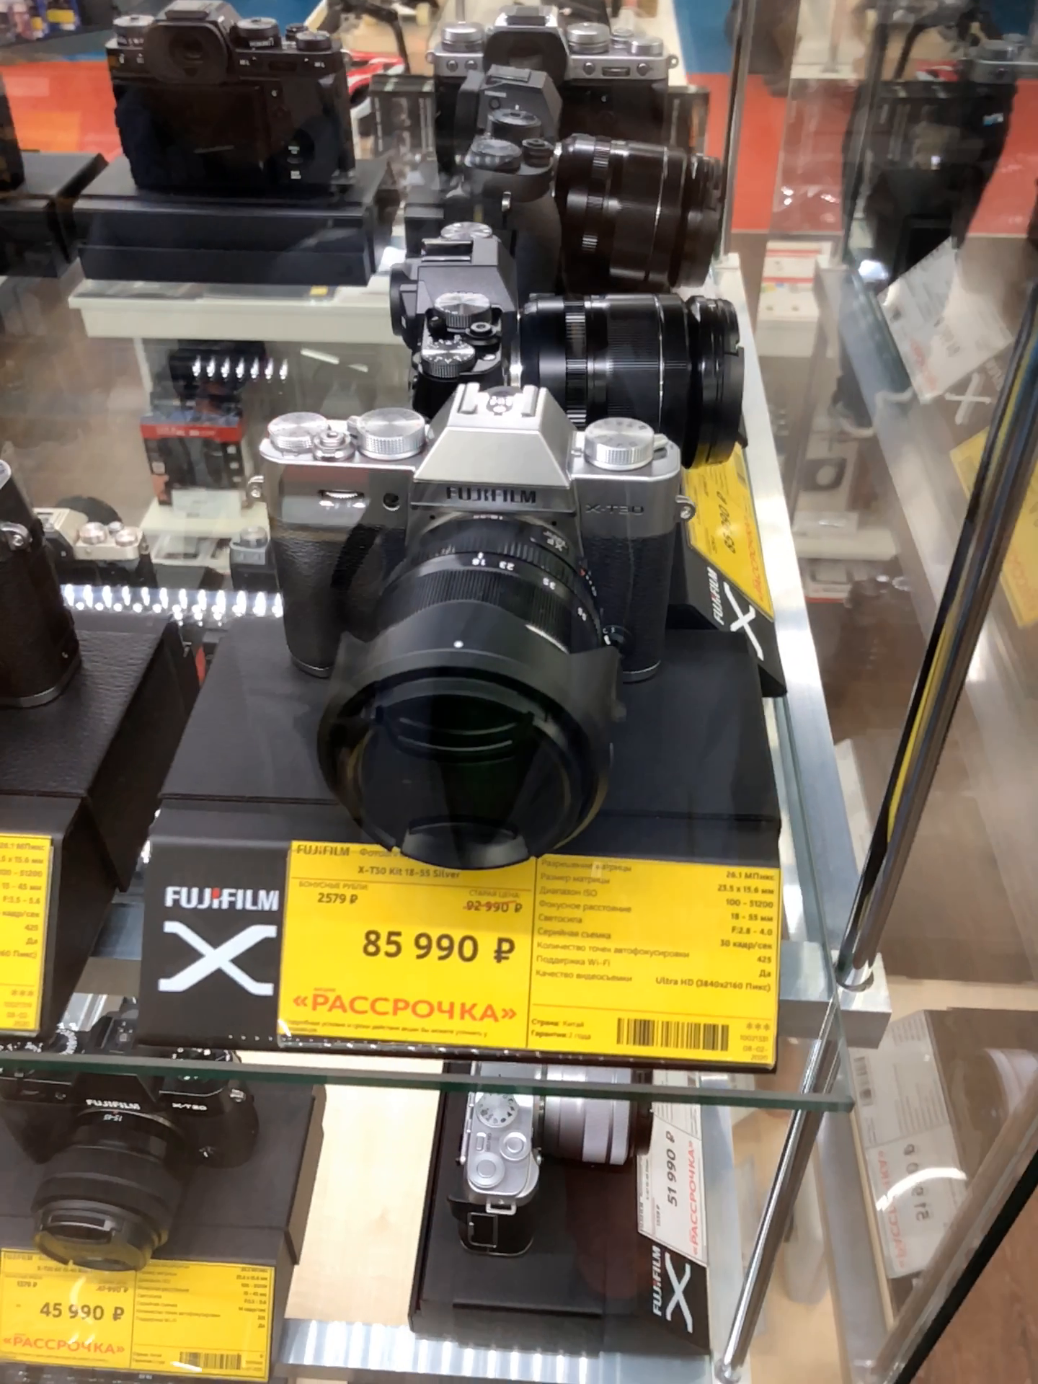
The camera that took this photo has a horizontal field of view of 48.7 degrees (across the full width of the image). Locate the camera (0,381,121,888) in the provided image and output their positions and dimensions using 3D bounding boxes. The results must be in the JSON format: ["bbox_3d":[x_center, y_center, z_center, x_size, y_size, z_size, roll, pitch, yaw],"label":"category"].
[{"bbox_3d":[-0.203,-0.019,0.316,0.135,0.088,0.104,3,41,3],"label":"camera"}]

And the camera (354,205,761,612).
[{"bbox_3d":[0.014,-0.111,0.429,0.122,0.088,0.145,2,41,2],"label":"camera"}]

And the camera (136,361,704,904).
[{"bbox_3d":[-0.018,-0.021,0.316,0.120,0.088,0.121,3,41,3],"label":"camera"}]
